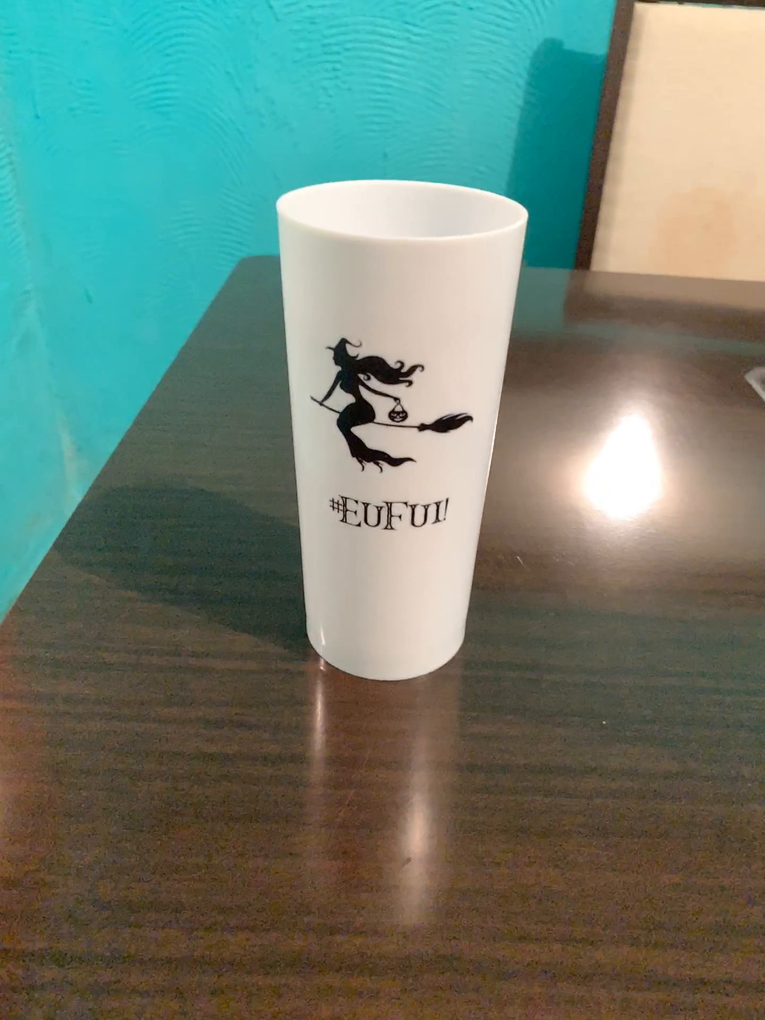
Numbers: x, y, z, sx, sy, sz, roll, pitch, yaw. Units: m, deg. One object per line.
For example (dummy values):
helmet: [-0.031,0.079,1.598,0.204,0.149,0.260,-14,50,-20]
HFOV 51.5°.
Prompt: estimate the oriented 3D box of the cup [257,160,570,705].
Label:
cup: [0.005,-0.021,0.247,0.070,0.149,0.070,2,33,-1]
